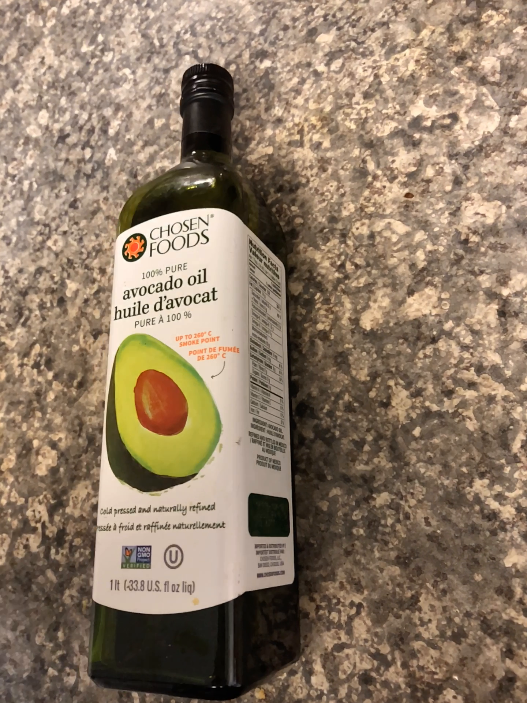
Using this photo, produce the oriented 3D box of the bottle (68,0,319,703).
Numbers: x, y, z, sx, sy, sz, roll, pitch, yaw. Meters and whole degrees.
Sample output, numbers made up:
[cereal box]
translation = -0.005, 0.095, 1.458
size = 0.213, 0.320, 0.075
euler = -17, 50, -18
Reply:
[bottle]
translation = -0.031, -0.014, 0.291
size = 0.080, 0.070, 0.320
euler = -9, 72, 24
